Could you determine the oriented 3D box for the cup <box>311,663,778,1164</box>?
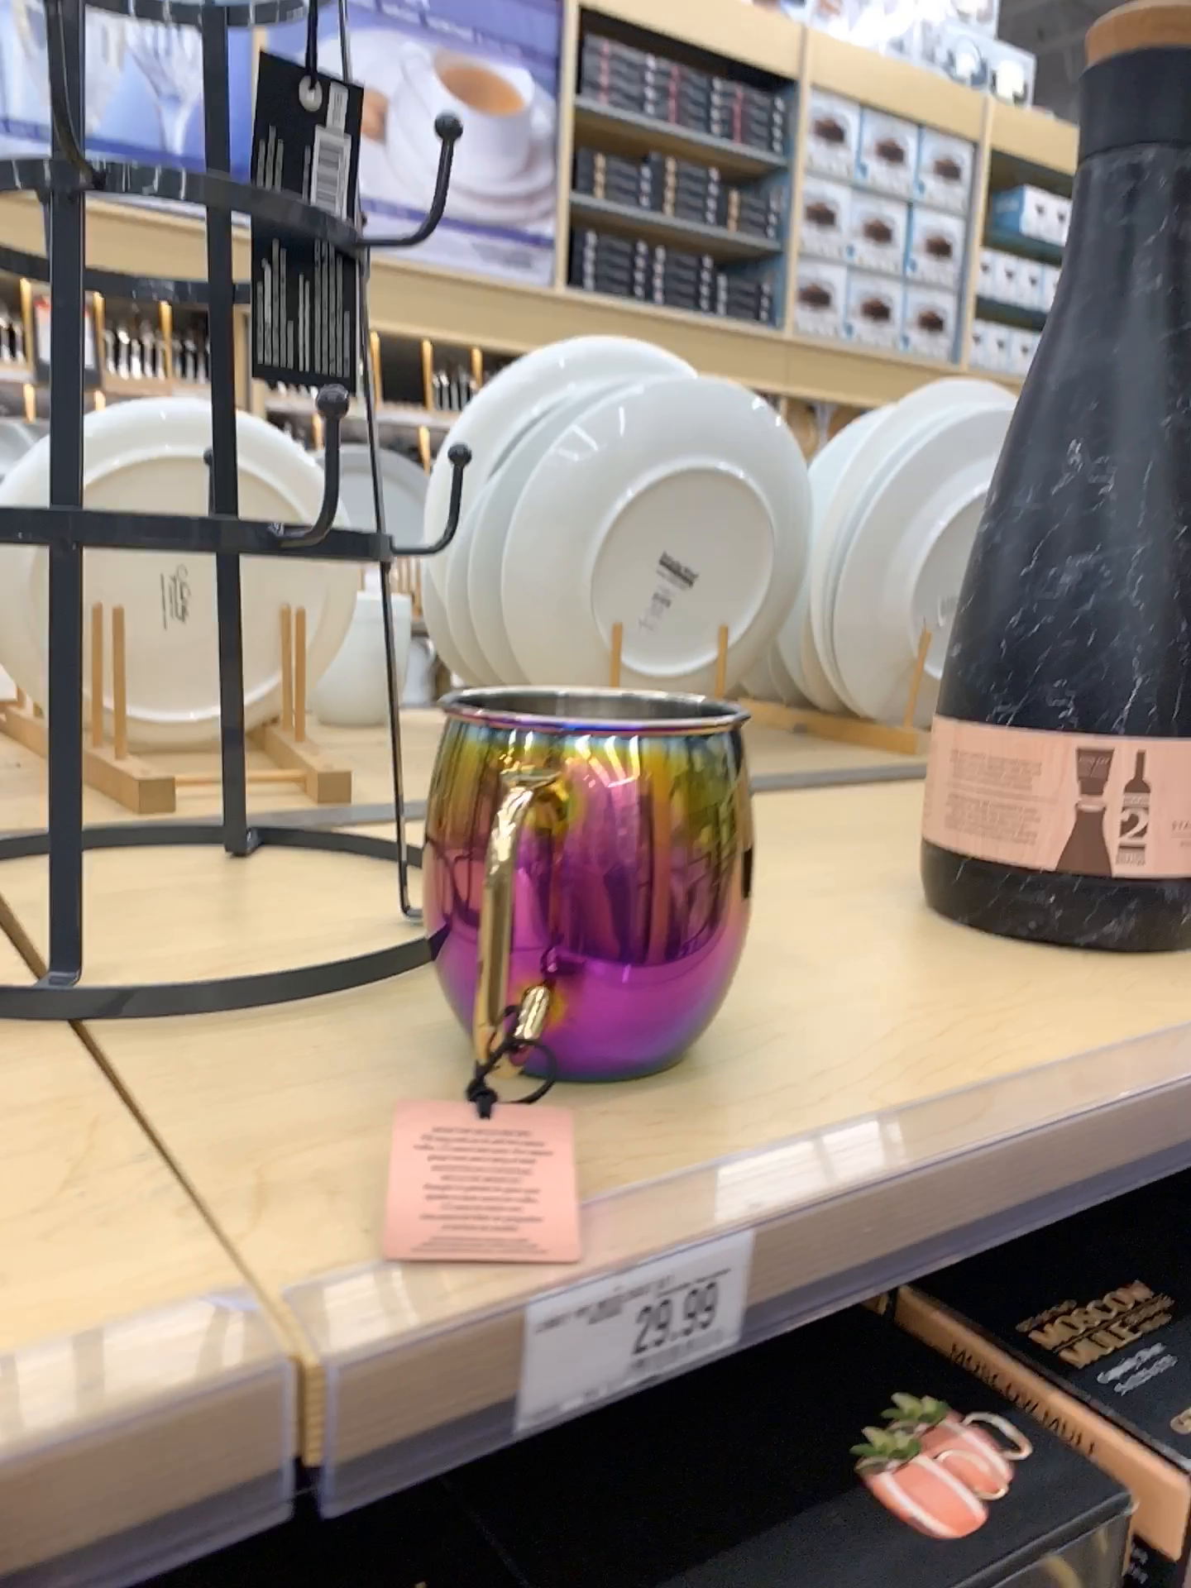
[{"bbox_3d":[-0.005,0.018,0.324,0.084,0.089,0.131,6,12,14],"label":"cup"}]
